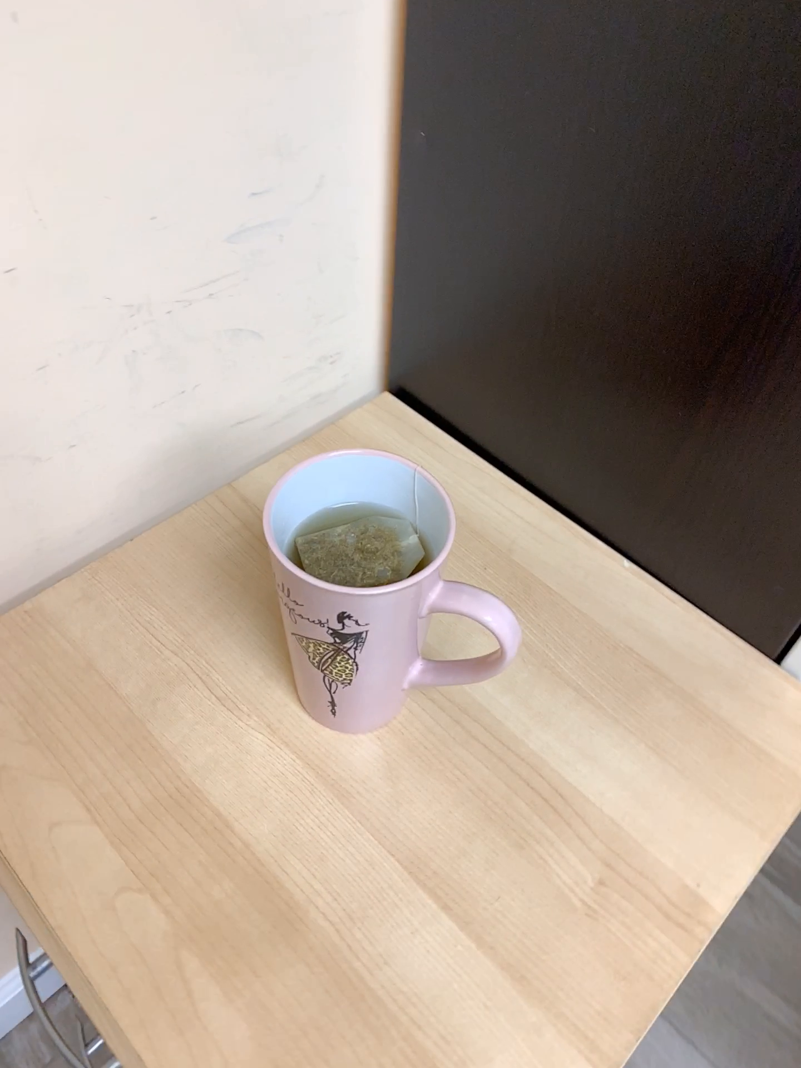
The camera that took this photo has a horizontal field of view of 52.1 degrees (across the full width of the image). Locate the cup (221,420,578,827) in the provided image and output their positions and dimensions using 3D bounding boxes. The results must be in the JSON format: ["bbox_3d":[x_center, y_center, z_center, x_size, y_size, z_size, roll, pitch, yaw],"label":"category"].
[{"bbox_3d":[-0.003,0.049,0.429,0.133,0.151,0.093,28,53,19],"label":"cup"}]
